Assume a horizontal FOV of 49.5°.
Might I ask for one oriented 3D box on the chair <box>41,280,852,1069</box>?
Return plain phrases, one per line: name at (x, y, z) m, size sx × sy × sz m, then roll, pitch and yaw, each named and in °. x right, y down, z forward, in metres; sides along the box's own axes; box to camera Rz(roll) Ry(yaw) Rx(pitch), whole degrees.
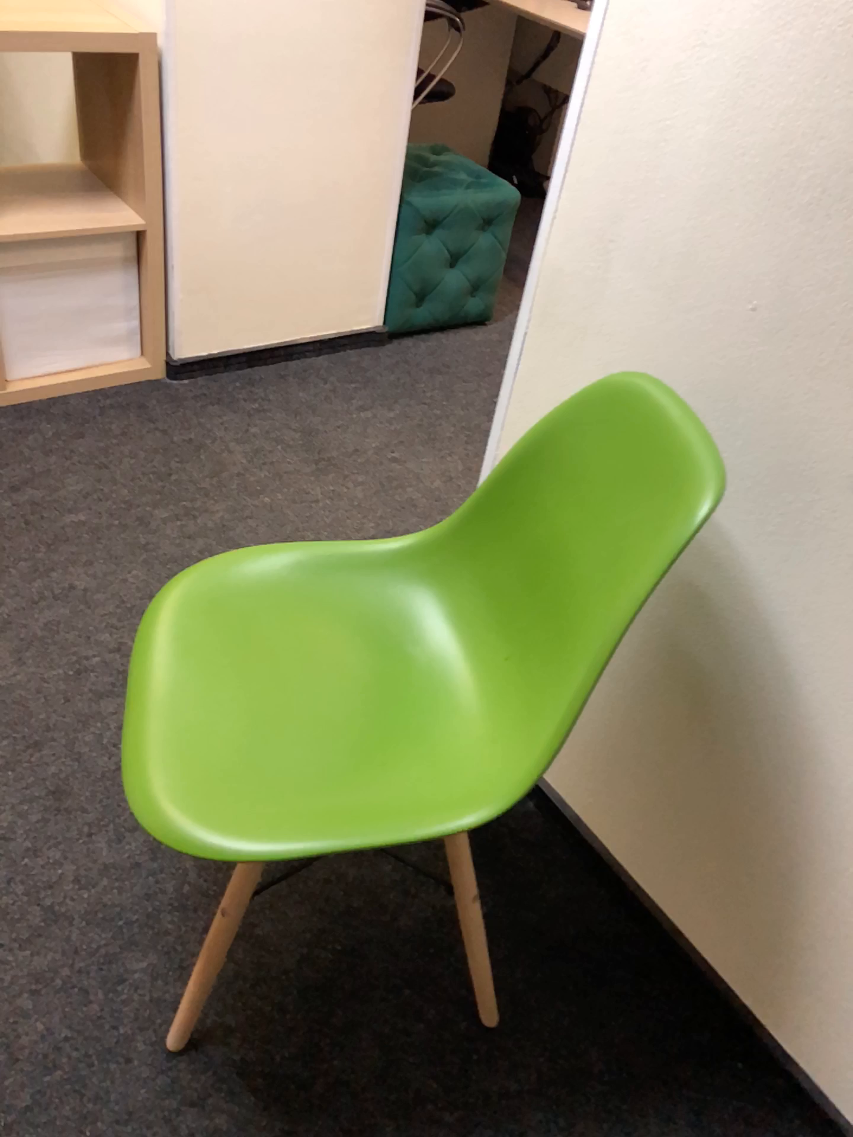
chair at (-0.040, 0.141, 1.043) m, size 0.580 × 0.706 × 0.483 m, roll 2°, pitch 40°, yaw -11°
